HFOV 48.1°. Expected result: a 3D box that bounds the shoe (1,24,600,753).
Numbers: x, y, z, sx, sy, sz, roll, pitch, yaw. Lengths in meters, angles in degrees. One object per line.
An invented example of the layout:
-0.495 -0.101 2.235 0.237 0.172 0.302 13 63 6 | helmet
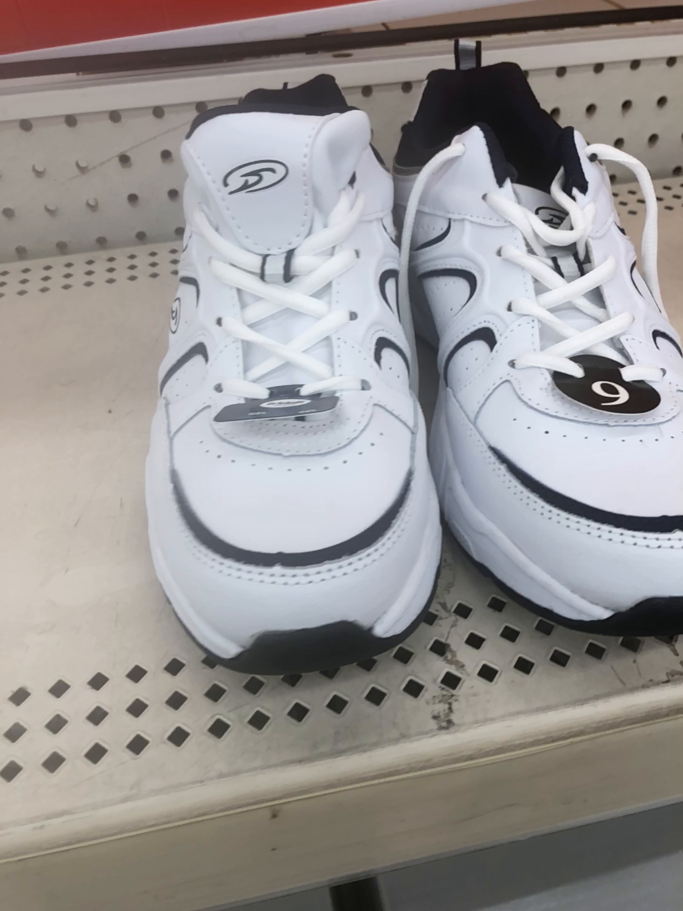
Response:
-0.015 -0.051 0.276 0.110 0.120 0.261 -3 44 -2 | shoe

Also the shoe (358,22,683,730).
0.081 -0.056 0.285 0.110 0.120 0.261 -6 44 -5 | shoe
